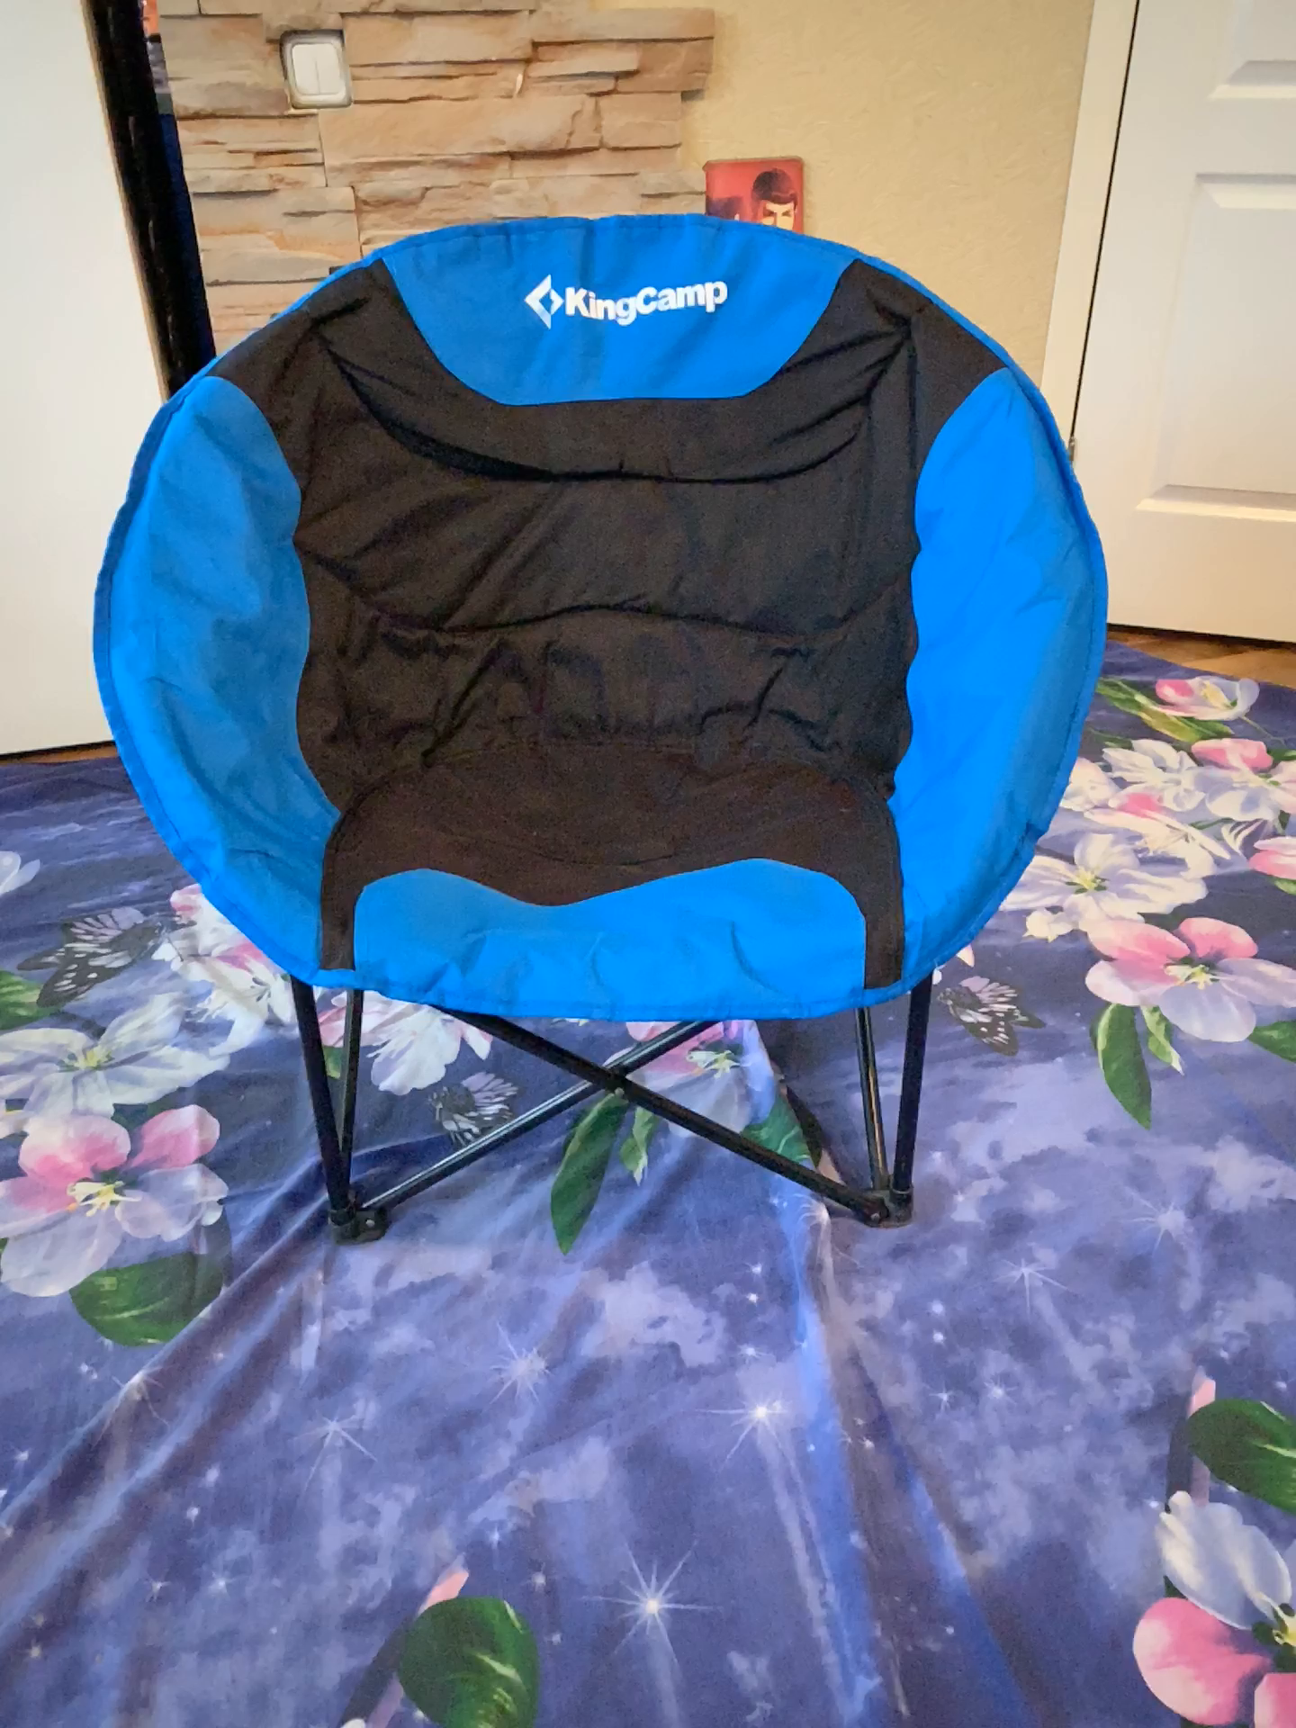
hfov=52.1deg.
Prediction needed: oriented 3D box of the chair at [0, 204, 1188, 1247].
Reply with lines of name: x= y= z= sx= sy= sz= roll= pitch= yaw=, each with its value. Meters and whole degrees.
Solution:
chair: x=-0.053 y=-0.151 z=1.241 sx=0.760 sy=0.772 sz=0.613 roll=0 pitch=31 yaw=1
